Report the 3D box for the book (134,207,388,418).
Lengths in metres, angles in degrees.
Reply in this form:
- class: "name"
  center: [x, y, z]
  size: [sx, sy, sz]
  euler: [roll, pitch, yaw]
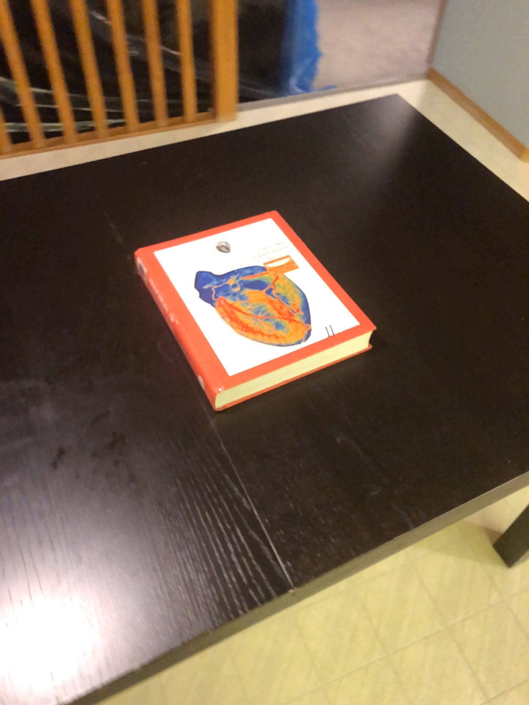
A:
- class: "book"
  center: [-0.014, -0.076, 0.845]
  size: [0.250, 0.050, 0.291]
  euler: [-22, 54, -19]
